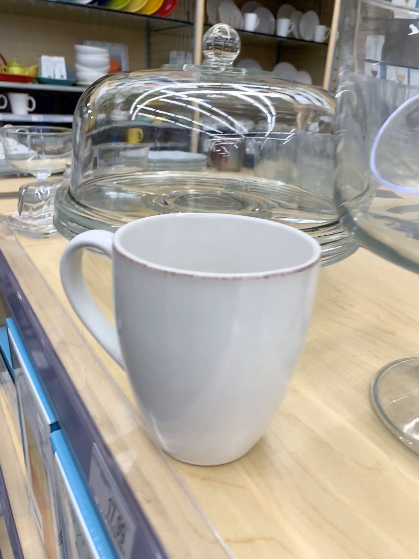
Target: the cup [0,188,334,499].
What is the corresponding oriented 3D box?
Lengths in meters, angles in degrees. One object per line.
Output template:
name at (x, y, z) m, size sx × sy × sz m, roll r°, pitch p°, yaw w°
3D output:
cup at (-0.015, 0.018, 0.221) m, size 0.130 × 0.094 × 0.096 m, roll 11°, pitch 27°, yaw 17°
